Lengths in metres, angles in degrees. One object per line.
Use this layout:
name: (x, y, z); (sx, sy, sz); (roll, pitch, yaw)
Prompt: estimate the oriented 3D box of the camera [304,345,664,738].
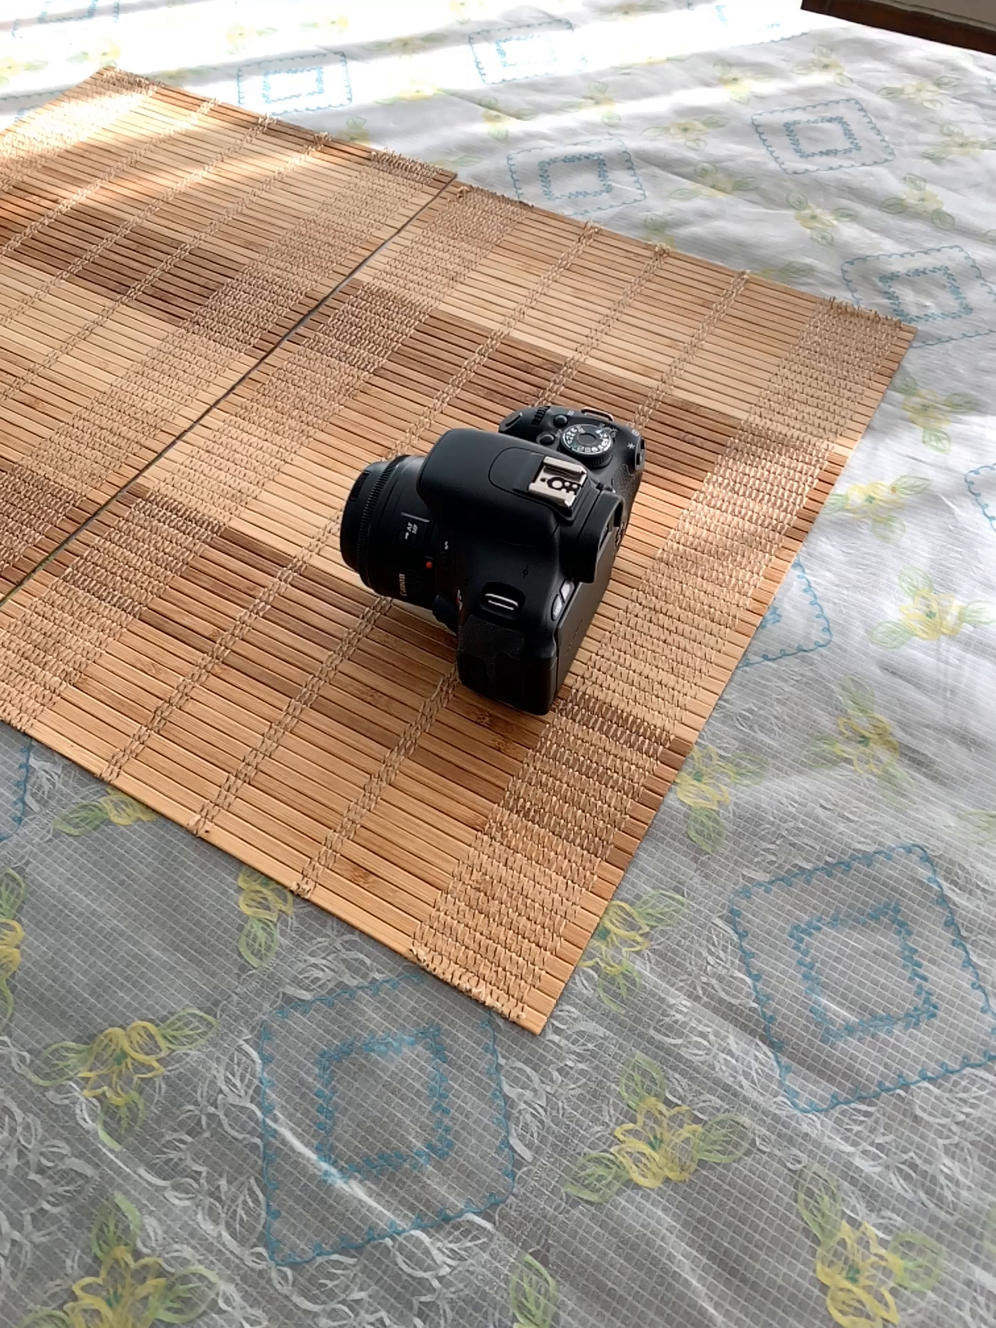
camera: (-0.001, -0.058, 0.455); (0.106, 0.080, 0.133); (18, 57, 14)
